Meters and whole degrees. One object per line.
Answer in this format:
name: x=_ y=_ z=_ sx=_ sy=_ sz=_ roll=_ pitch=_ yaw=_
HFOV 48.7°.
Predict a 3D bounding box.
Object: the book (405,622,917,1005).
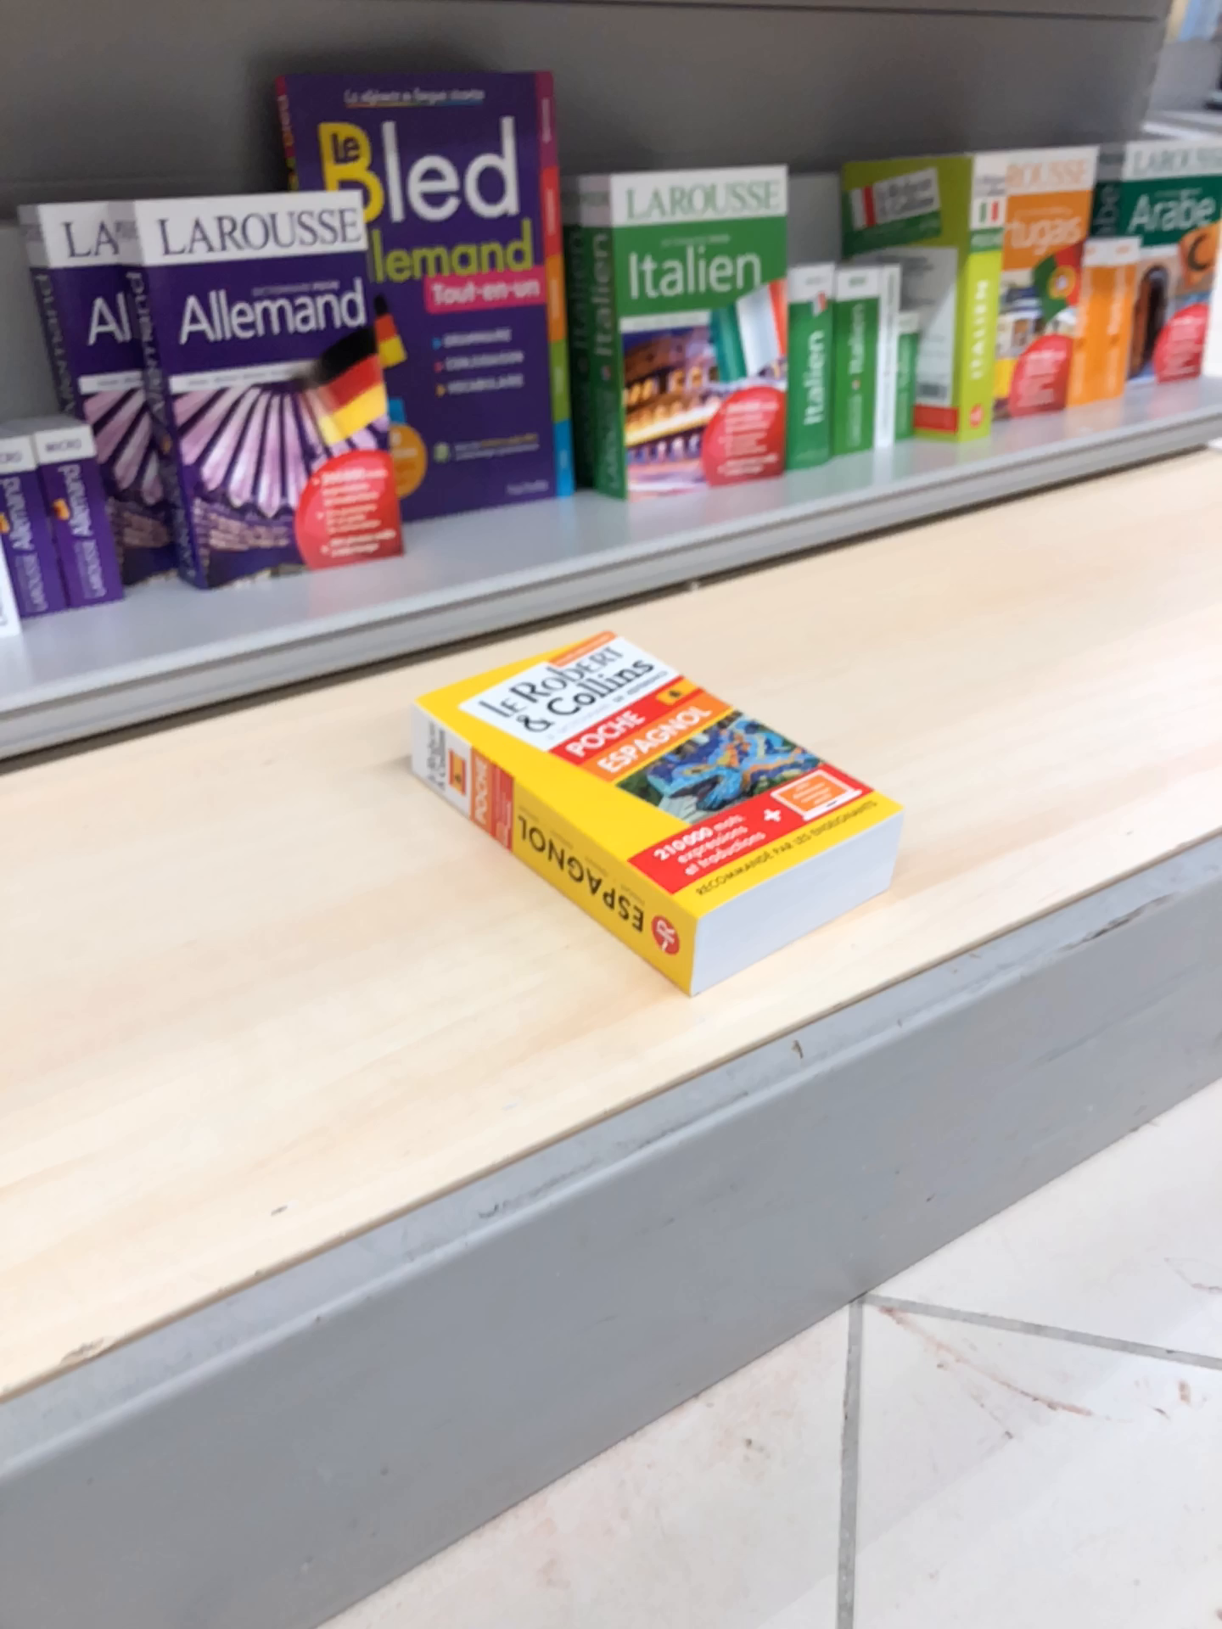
book: x=0.014 y=-0.011 z=0.542 sx=0.111 sy=0.040 sz=0.180 roll=-23 pitch=43 yaw=-35
